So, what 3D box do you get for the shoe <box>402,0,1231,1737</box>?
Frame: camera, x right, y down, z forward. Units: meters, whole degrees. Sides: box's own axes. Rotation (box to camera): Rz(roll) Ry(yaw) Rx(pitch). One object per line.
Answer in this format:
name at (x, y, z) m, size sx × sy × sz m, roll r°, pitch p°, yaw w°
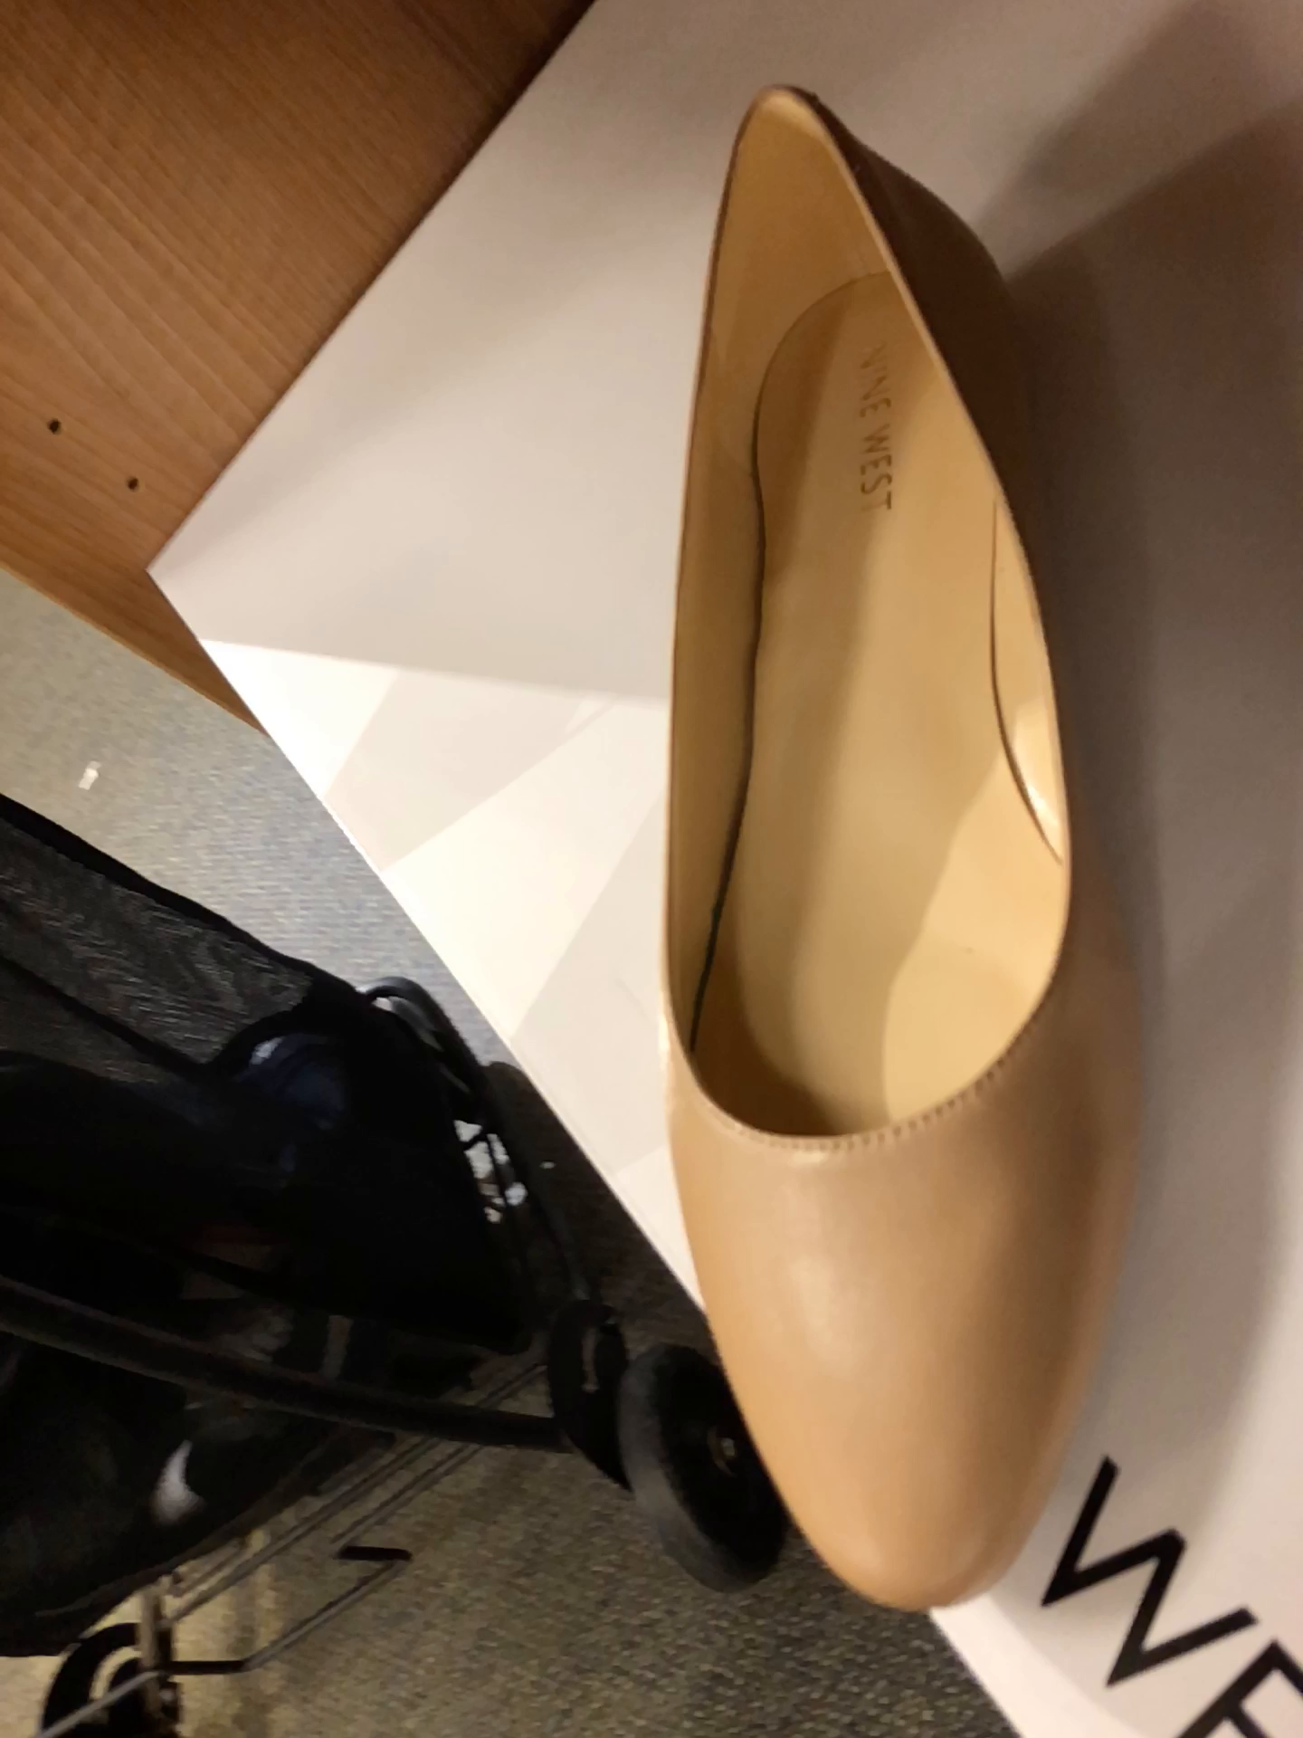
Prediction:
shoe at (0.033, -0.017, 0.229) m, size 0.082 × 0.070 × 0.270 m, roll -9°, pitch 66°, yaw 34°
